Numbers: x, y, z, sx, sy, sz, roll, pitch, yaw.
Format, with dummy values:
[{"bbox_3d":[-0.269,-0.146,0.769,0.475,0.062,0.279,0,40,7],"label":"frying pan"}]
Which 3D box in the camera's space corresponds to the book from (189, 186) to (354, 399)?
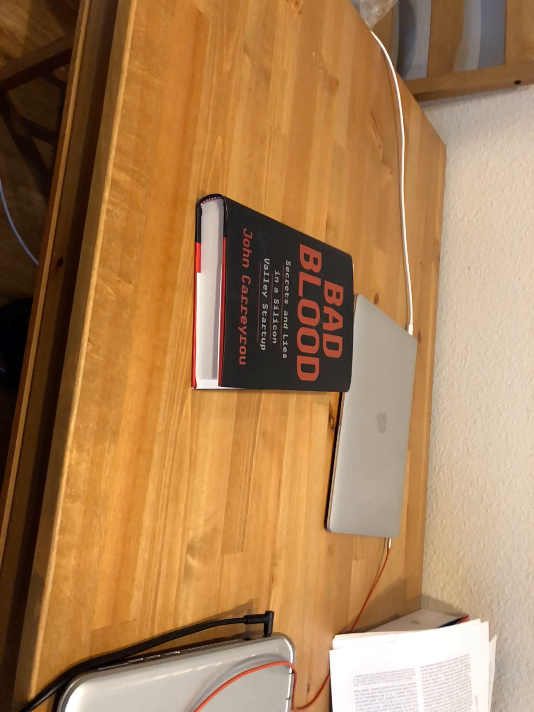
[{"bbox_3d":[0.019,-0.046,0.603,0.252,0.030,0.178,6,84,-56],"label":"book"}]
